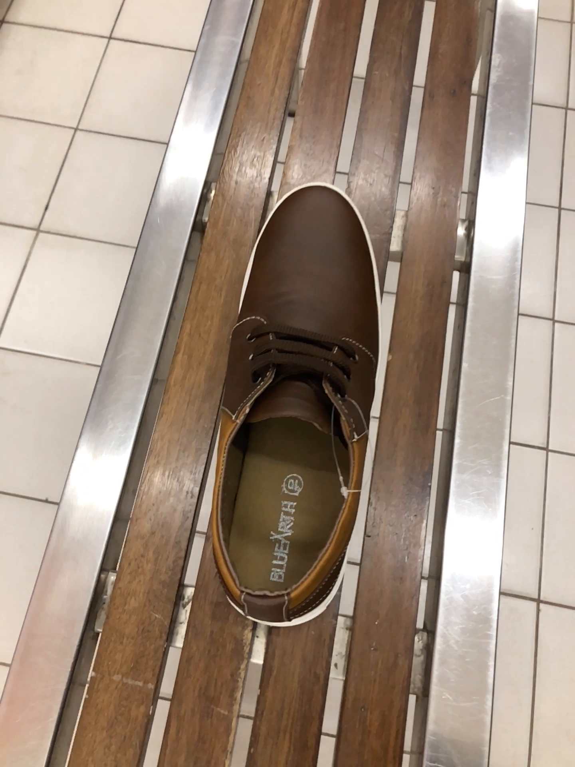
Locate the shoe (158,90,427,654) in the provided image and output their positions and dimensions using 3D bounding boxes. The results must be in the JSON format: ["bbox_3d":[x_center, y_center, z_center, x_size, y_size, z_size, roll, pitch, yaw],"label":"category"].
[{"bbox_3d":[0.013,-0.011,0.394,0.109,0.115,0.312,6,71,3],"label":"shoe"}]
